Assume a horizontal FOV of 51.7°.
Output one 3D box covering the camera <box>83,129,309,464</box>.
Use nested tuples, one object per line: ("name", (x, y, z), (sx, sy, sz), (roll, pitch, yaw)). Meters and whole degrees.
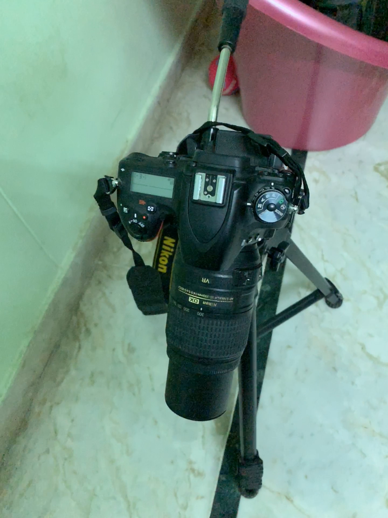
("camera", (0.004, 0.018, 0.327), (0.130, 0.214, 0.116), (12, 16, 13))
